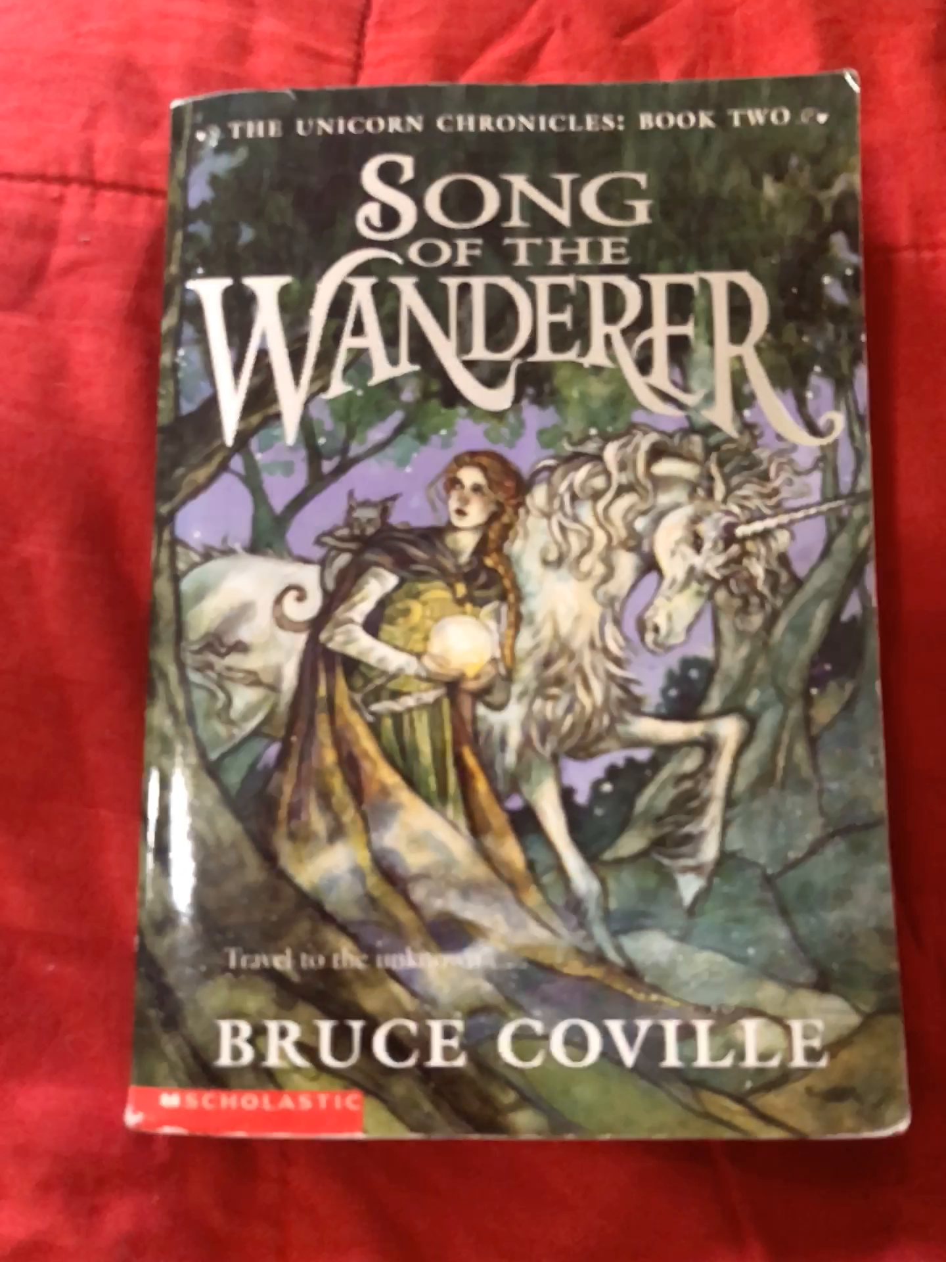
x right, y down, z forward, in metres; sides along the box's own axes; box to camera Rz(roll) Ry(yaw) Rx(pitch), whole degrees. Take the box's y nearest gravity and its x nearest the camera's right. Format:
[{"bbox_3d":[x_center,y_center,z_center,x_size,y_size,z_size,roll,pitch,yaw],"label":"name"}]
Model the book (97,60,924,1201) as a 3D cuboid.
[{"bbox_3d":[0.006,-0.005,0.191,0.130,0.030,0.190,0,83,3],"label":"book"}]
